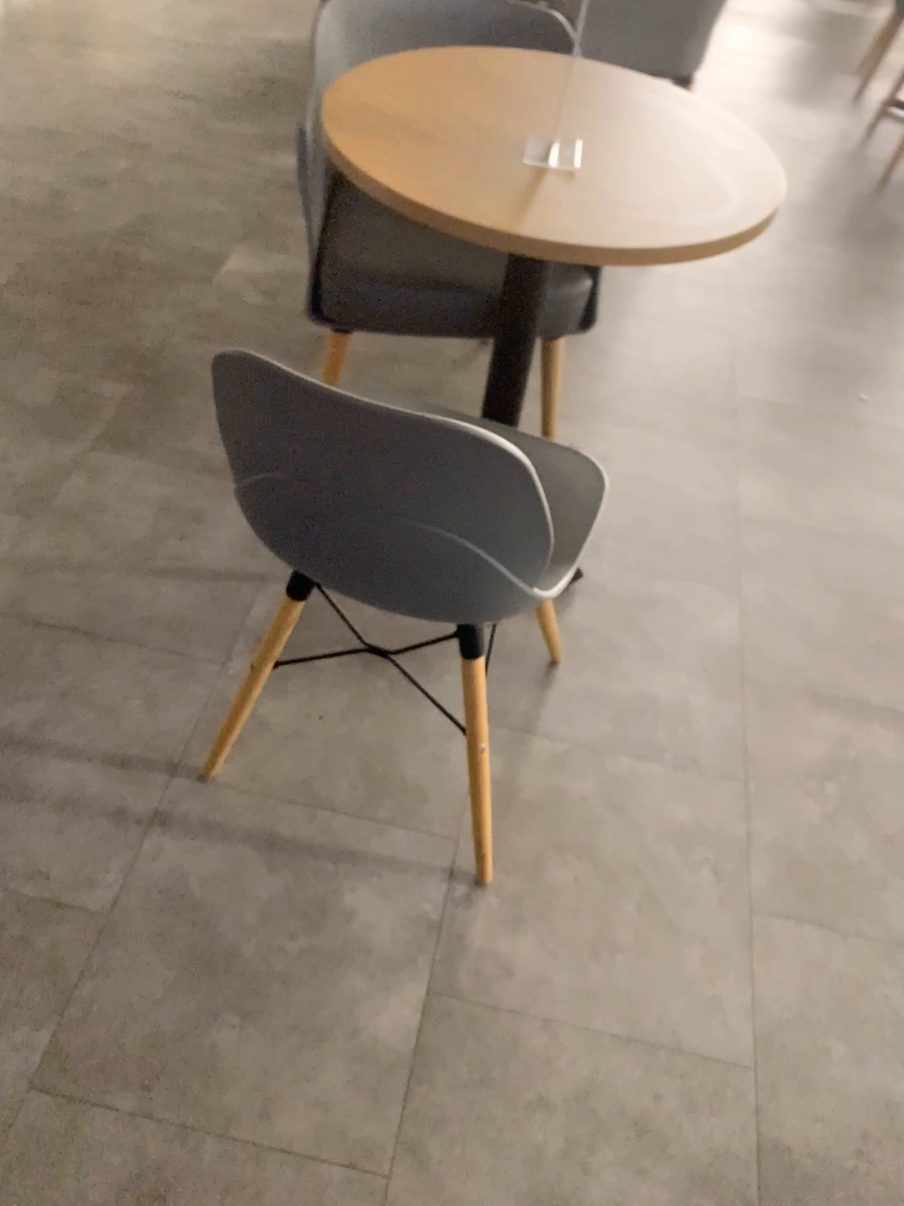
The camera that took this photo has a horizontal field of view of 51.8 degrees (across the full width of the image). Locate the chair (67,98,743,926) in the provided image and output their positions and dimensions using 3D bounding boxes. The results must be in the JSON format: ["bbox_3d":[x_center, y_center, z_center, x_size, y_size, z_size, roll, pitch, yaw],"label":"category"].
[{"bbox_3d":[-0.041,-0.080,1.201,0.505,0.802,0.524,18,48,8],"label":"chair"}]

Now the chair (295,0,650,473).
[{"bbox_3d":[-0.023,-0.731,1.885,0.555,0.753,0.514,1,48,-8],"label":"chair"}]
